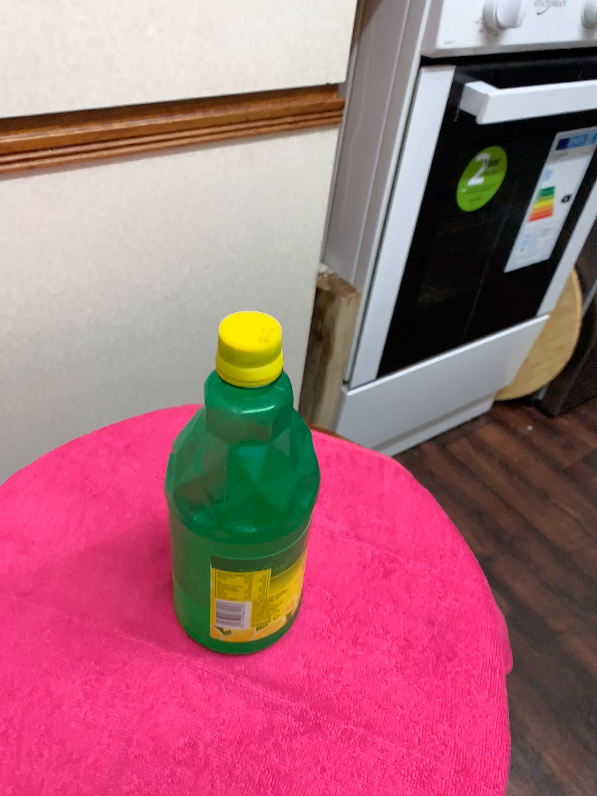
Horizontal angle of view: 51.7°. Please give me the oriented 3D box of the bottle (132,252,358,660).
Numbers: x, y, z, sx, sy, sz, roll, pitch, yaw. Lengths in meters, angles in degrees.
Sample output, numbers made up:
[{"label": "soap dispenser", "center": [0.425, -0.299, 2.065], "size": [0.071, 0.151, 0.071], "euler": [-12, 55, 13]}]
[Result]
[{"label": "bottle", "center": [-0.032, 0.047, 0.357], "size": [0.090, 0.228, 0.101], "euler": [5, 41, -3]}]
